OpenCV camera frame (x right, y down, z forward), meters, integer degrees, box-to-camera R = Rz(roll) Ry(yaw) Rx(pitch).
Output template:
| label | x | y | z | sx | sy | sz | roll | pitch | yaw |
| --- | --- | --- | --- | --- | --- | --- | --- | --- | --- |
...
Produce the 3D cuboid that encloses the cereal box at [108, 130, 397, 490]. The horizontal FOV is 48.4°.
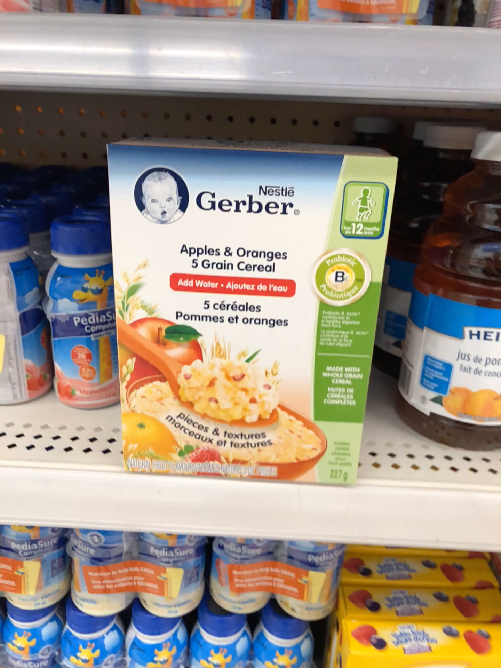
| label | x | y | z | sx | sy | sz | roll | pitch | yaw |
| --- | --- | --- | --- | --- | --- | --- | --- | --- | --- |
| cereal box | -0.004 | -0.010 | 0.330 | 0.140 | 0.199 | 0.050 | 3 | 22 | 0 |
